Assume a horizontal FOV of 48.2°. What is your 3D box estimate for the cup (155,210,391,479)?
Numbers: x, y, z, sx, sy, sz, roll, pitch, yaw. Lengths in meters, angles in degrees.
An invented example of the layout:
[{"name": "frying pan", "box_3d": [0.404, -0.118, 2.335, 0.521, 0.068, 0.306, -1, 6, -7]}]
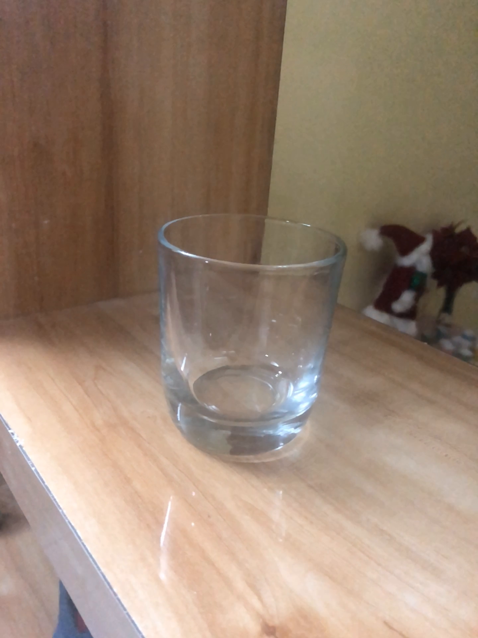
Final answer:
[{"name": "cup", "box_3d": [0.005, 0.005, 0.250, 0.080, 0.090, 0.090, -2, 24, -14]}]
